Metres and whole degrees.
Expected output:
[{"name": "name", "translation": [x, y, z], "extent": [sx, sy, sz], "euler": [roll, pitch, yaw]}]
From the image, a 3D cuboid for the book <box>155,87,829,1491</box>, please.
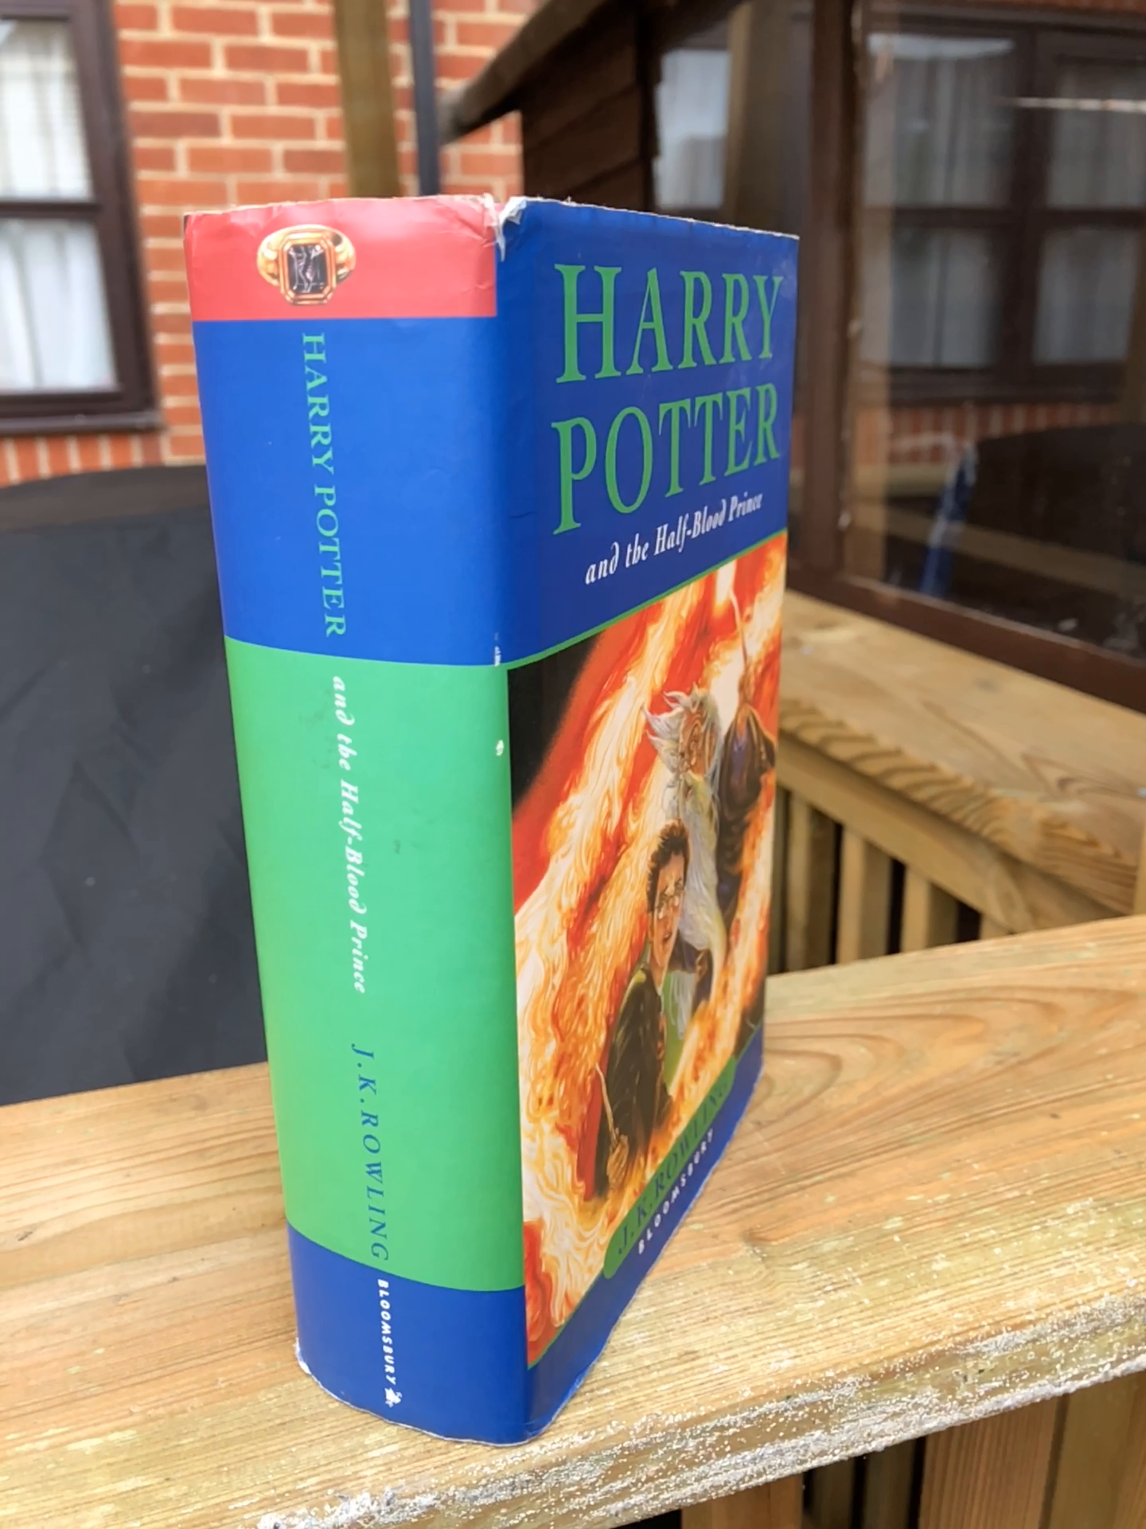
[{"name": "book", "translation": [0.000, -0.003, 0.255], "extent": [0.060, 0.209, 0.141], "euler": [6, 18, 24]}]
